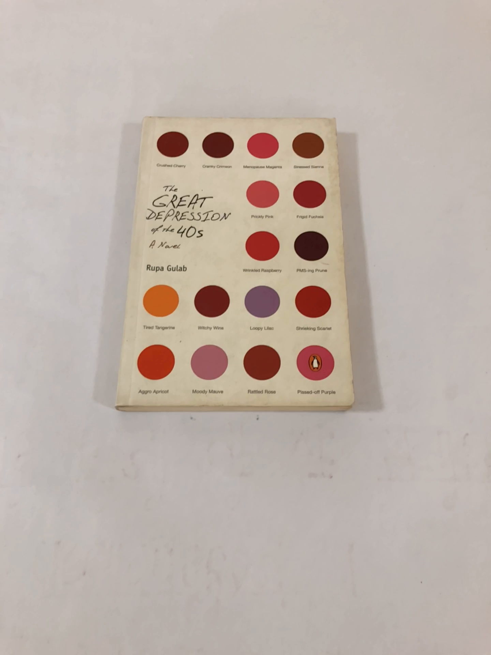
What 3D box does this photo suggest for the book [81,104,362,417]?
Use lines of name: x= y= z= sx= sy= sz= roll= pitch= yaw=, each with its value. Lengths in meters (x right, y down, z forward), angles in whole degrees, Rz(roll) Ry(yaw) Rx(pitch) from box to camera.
book: x=-0.011 y=-0.046 z=0.321 sx=0.140 sy=0.030 sz=0.190 roll=1 pitch=68 yaw=0
